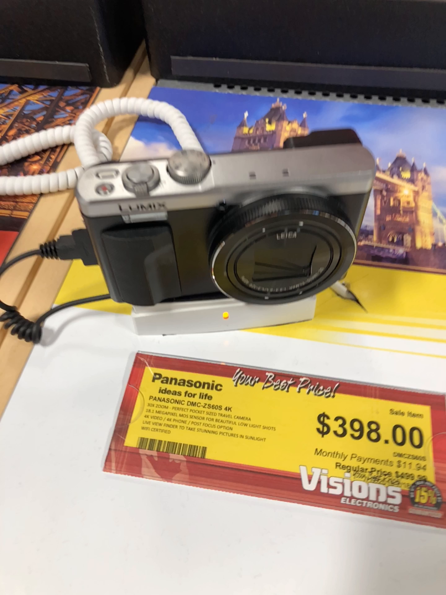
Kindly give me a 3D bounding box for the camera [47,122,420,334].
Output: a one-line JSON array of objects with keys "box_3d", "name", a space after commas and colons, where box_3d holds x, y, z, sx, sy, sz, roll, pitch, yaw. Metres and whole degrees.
[{"box_3d": [0.003, -0.025, 0.194, 0.120, 0.060, 0.040, -6, 54, -1], "name": "camera"}]
